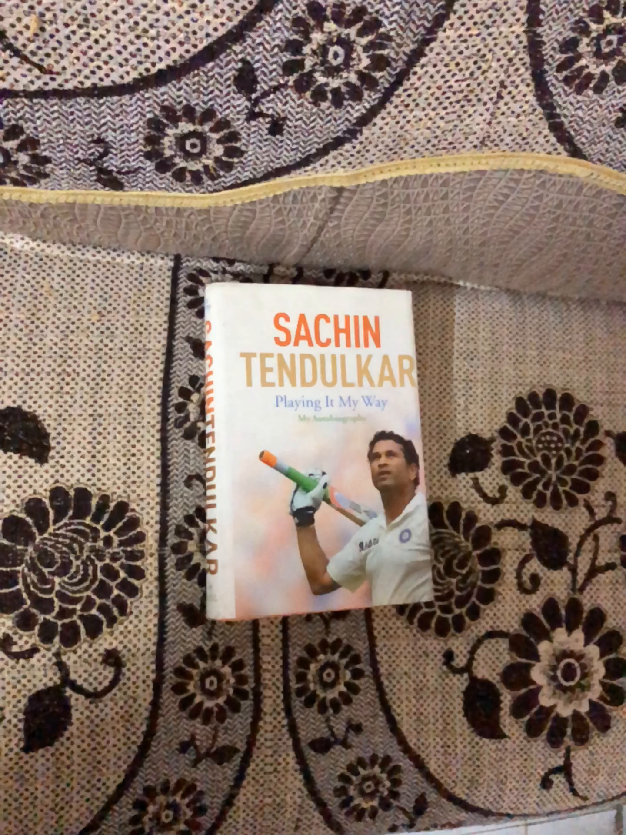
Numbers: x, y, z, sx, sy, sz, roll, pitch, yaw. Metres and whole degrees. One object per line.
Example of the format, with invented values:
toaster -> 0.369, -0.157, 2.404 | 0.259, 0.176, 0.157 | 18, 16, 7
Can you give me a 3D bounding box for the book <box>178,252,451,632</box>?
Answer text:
book -> -0.005, 0.017, 0.529 | 0.180, 0.070, 0.260 | 0, 79, -18
